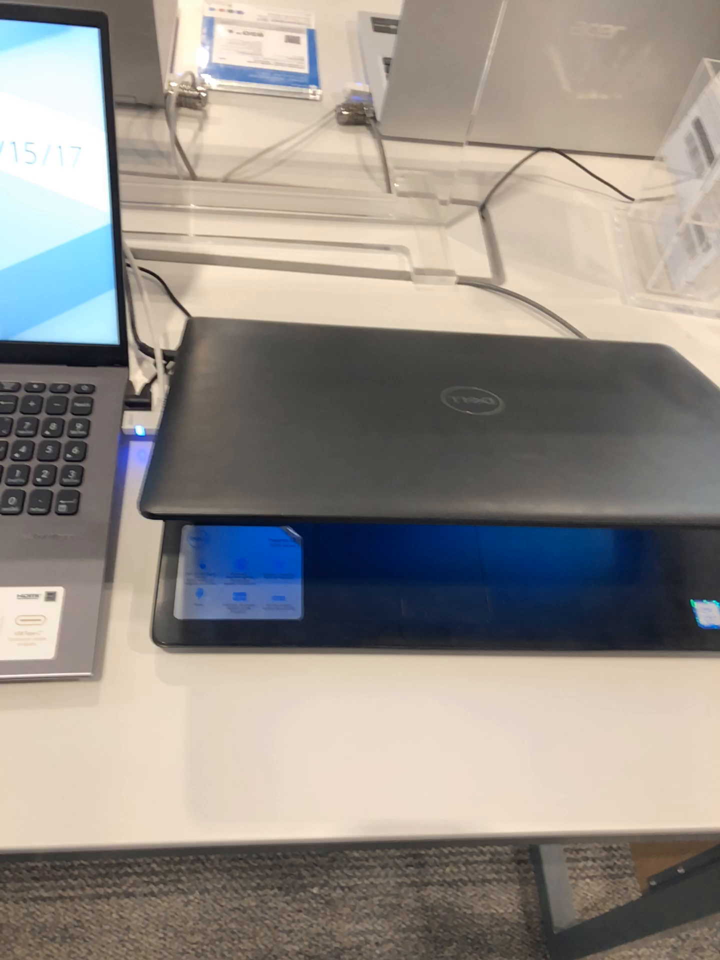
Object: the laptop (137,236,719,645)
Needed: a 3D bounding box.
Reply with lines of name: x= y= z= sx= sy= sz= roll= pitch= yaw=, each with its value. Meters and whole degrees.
laptop: x=0.067 y=-0.030 z=0.498 sx=0.365 sy=0.080 sz=0.245 roll=2 pitch=53 yaw=-9
